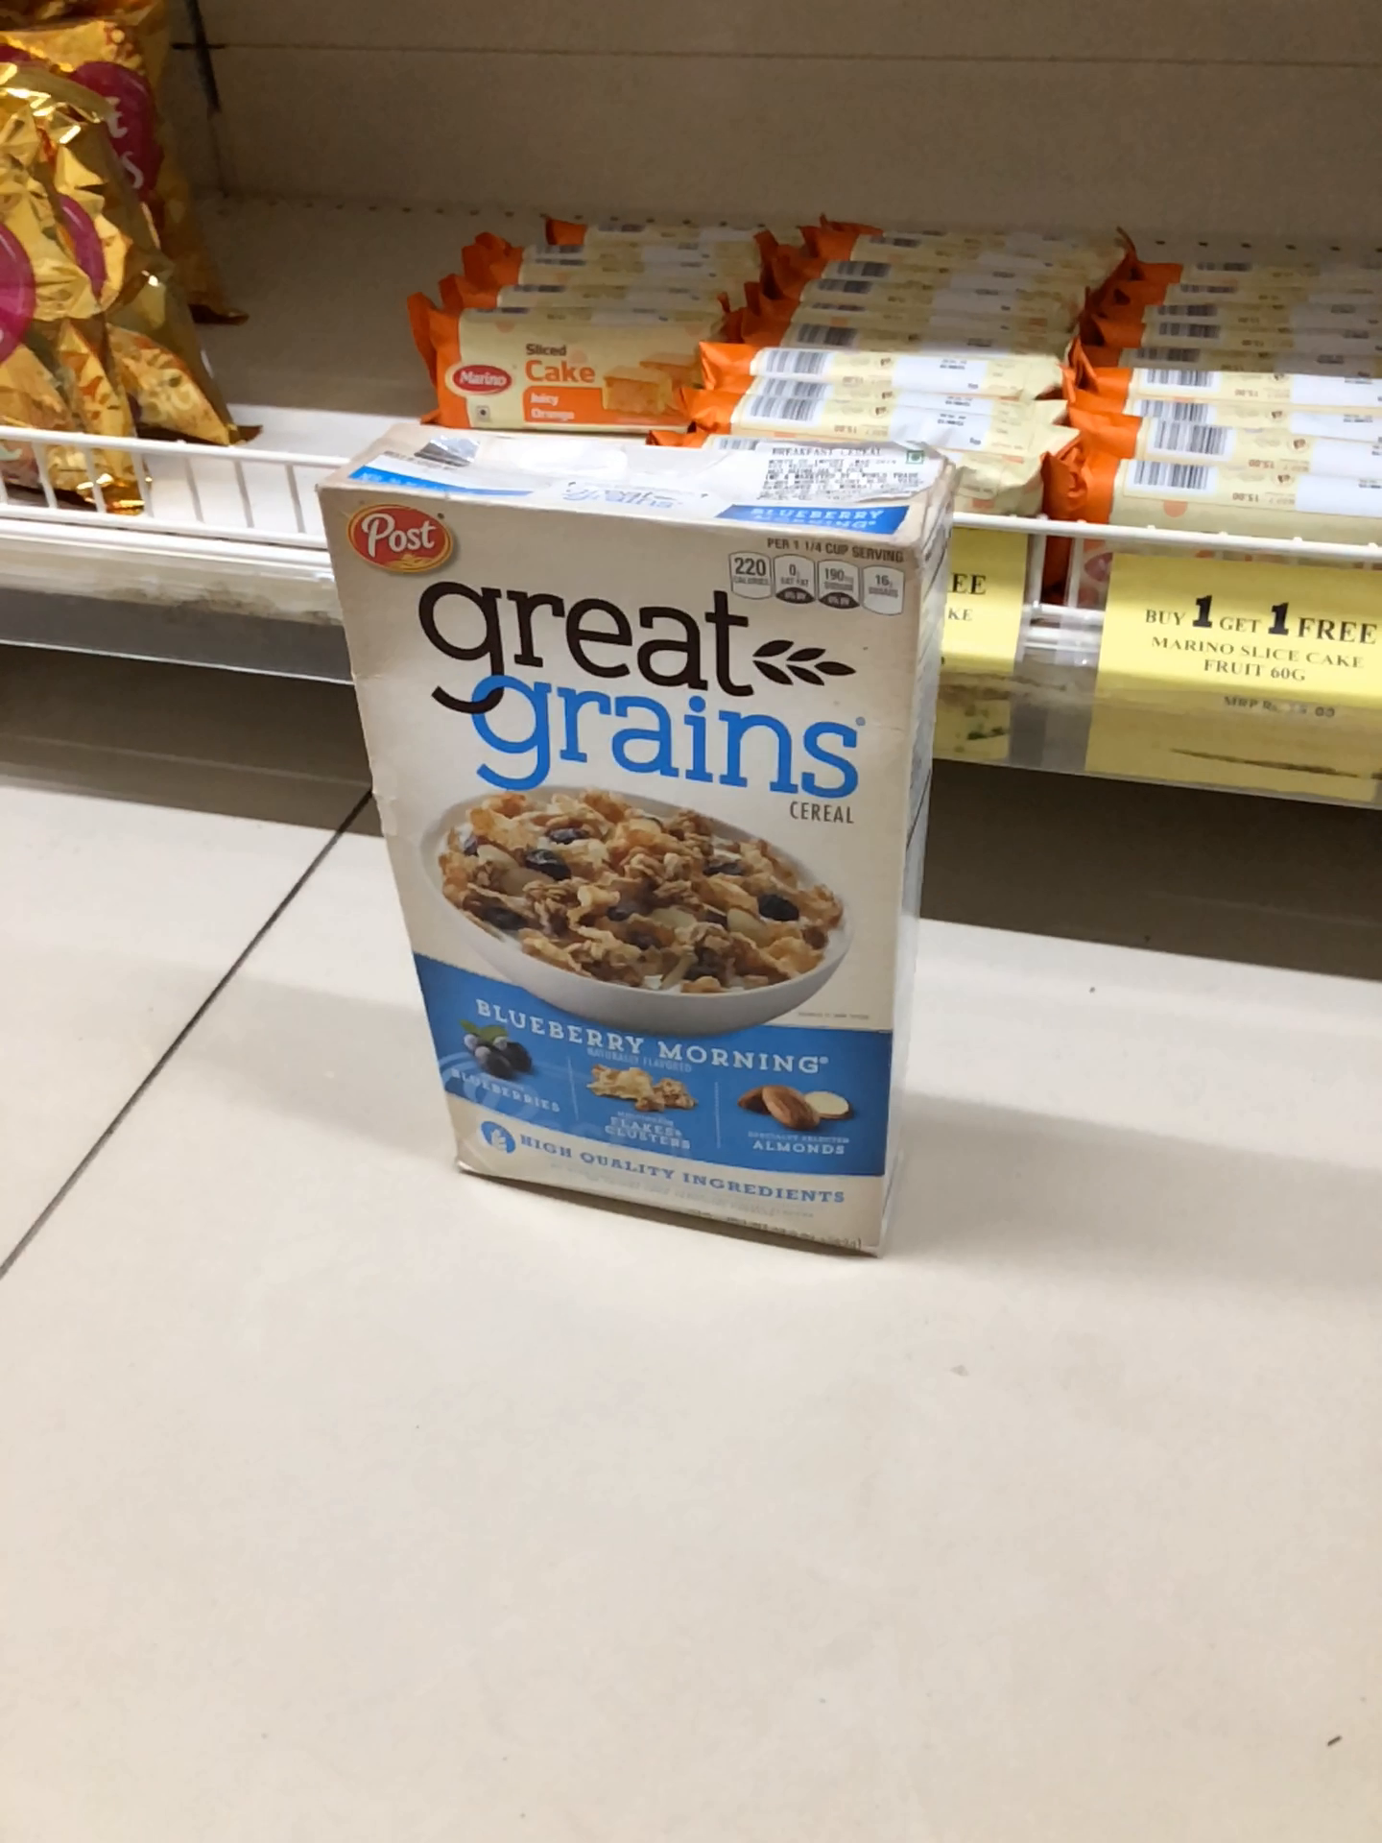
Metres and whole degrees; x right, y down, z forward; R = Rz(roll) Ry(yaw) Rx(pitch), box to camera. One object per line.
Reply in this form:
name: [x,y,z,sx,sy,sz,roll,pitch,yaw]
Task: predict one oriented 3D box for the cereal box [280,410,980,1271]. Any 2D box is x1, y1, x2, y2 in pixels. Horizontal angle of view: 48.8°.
cereal box: [-0.010,-0.014,0.472,0.170,0.258,0.060,9,40,14]
